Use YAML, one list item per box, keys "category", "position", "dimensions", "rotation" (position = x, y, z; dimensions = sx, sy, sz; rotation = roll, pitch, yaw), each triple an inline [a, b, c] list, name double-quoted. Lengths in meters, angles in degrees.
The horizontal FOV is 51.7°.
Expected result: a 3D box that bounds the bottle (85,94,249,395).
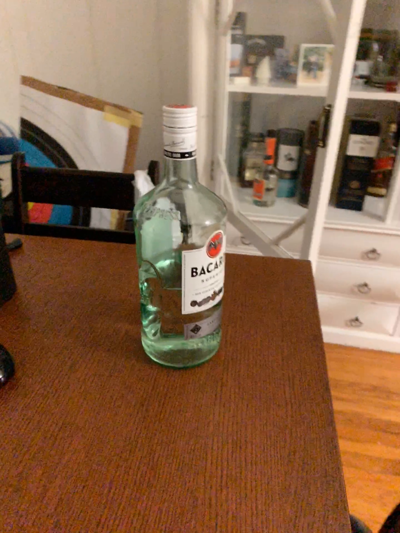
- category: "bottle"
  position: [-0.035, -0.024, 0.510]
  dimensions: [0.120, 0.328, 0.120]
  rotation: [1, 30, 0]
